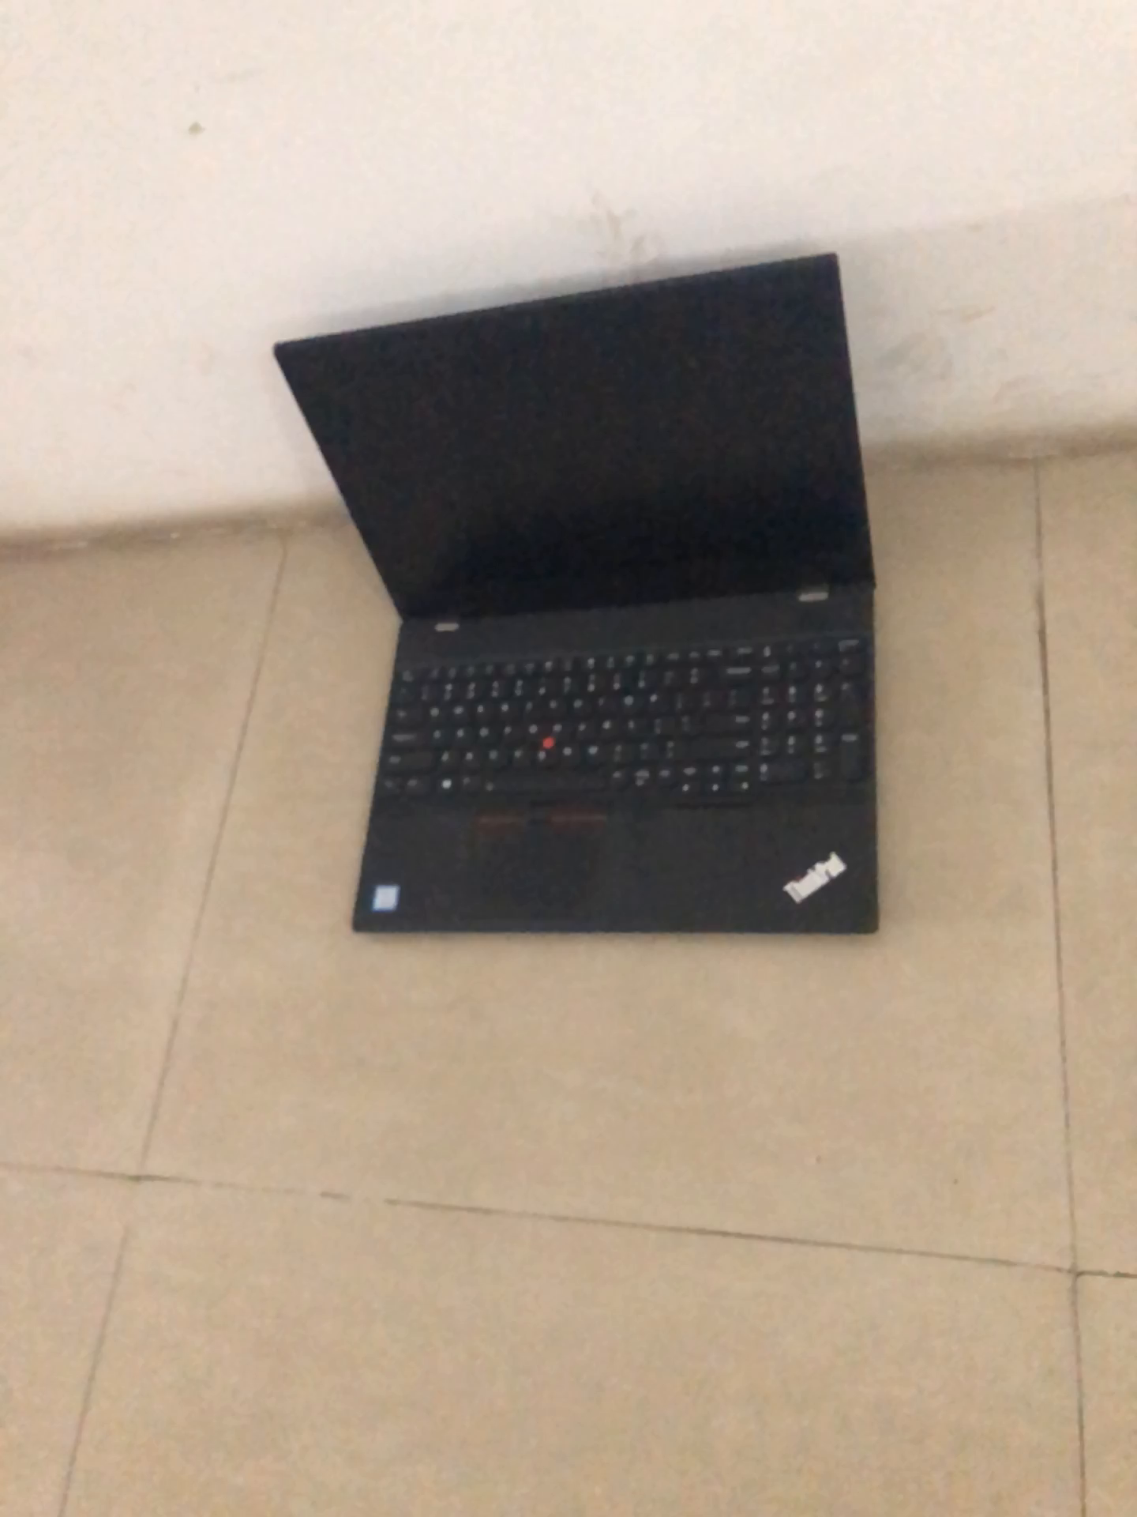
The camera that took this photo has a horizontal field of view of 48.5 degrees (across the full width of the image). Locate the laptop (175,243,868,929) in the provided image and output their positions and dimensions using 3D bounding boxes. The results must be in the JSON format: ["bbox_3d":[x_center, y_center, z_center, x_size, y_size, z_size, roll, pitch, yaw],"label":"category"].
[{"bbox_3d":[-0.004,-0.085,0.790,0.351,0.215,0.328,-3,66,18],"label":"laptop"}]
